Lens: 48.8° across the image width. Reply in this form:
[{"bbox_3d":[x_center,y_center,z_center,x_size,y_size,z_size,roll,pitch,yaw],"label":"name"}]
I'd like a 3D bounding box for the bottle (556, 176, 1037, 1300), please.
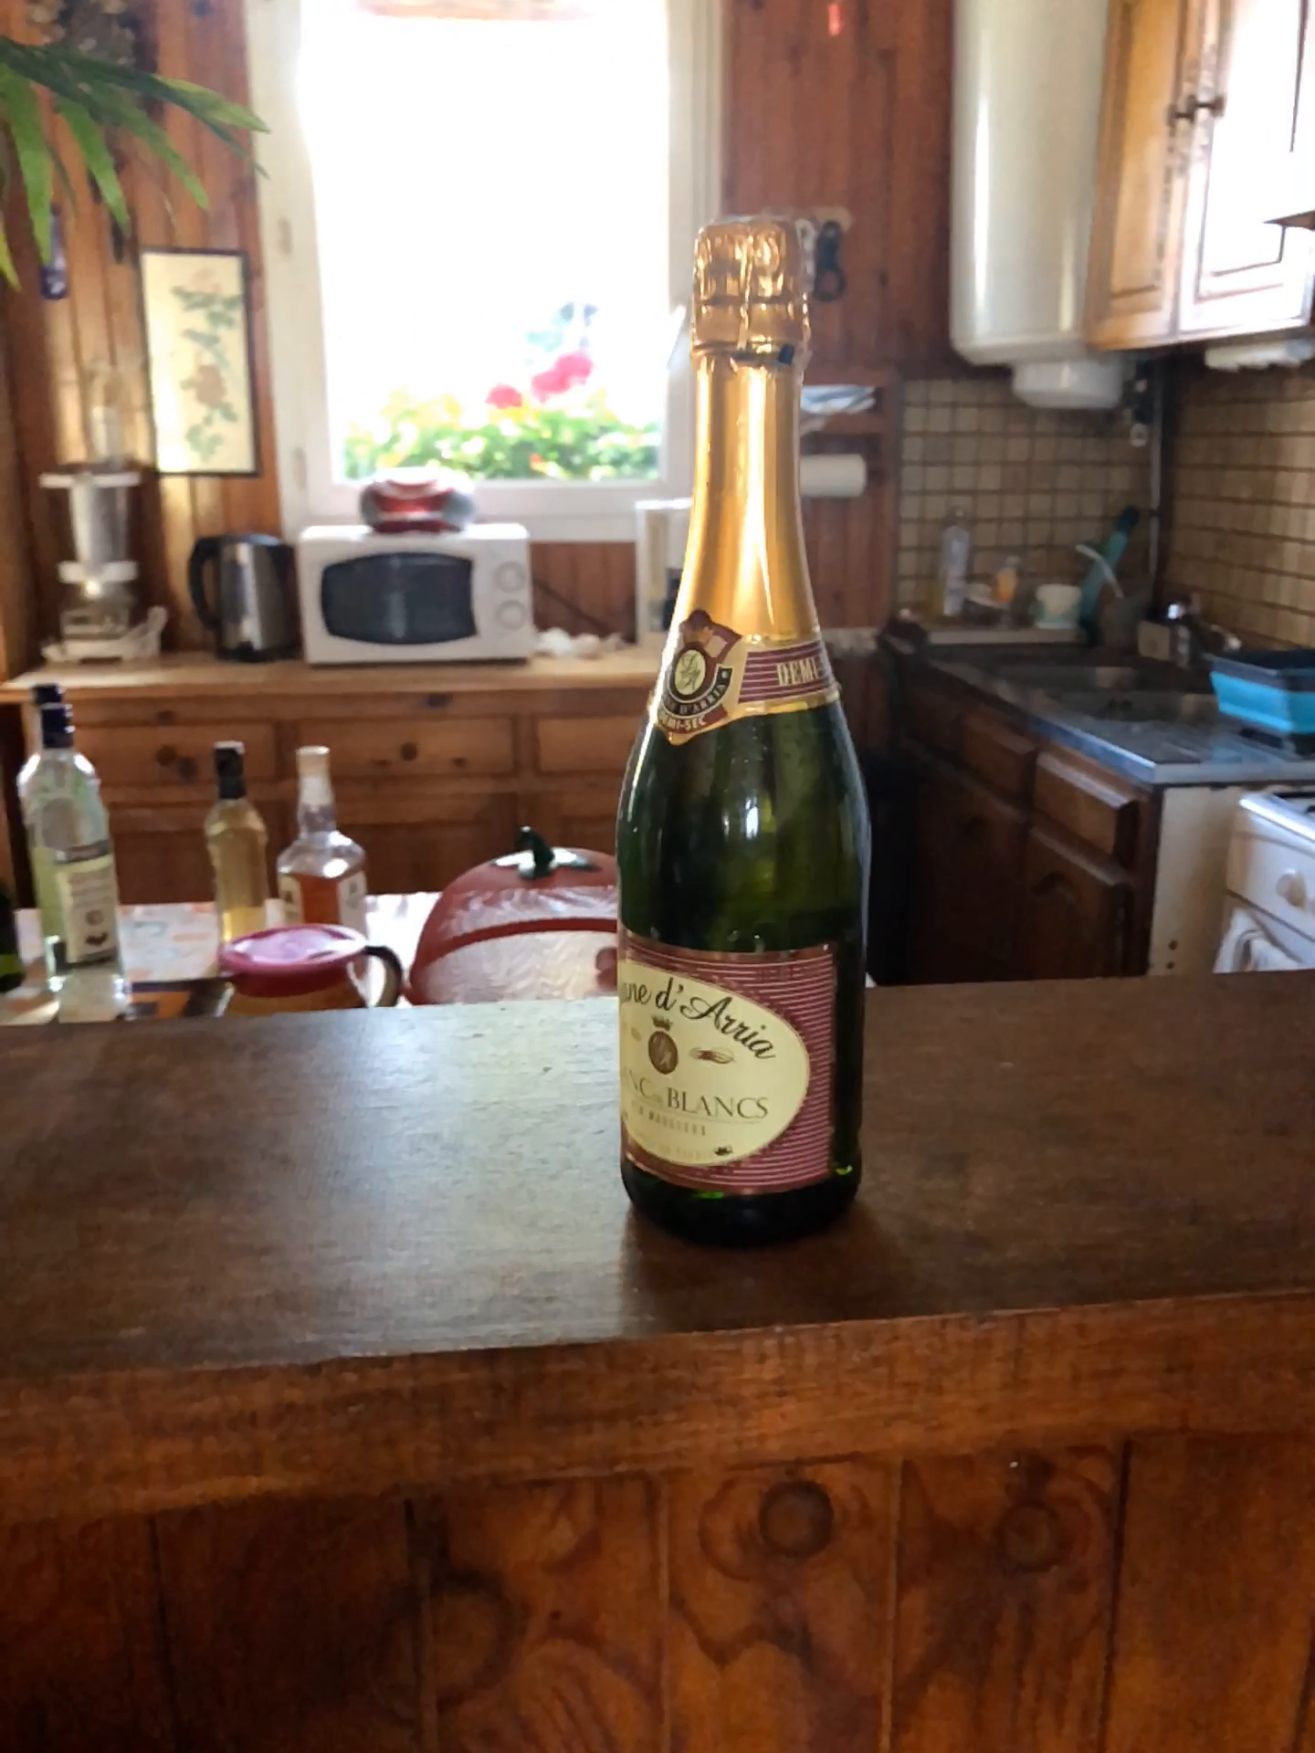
[{"bbox_3d":[0.039,-0.040,0.445,0.100,0.299,0.090,-15,22,-42],"label":"bottle"}]
